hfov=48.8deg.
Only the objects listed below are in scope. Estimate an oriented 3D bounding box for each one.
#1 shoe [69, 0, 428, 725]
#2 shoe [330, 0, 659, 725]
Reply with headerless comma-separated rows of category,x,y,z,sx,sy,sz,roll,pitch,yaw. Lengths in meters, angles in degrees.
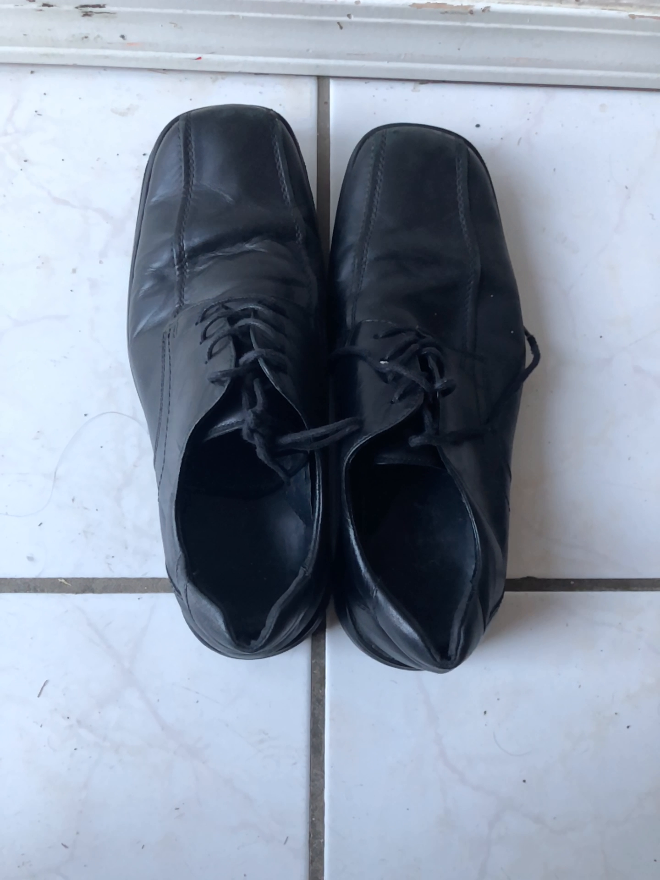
shoe,-0.038,-0.039,0.335,0.120,0.100,0.290,-4,84,-4
shoe,0.061,-0.037,0.332,0.110,0.100,0.290,-1,84,-3
